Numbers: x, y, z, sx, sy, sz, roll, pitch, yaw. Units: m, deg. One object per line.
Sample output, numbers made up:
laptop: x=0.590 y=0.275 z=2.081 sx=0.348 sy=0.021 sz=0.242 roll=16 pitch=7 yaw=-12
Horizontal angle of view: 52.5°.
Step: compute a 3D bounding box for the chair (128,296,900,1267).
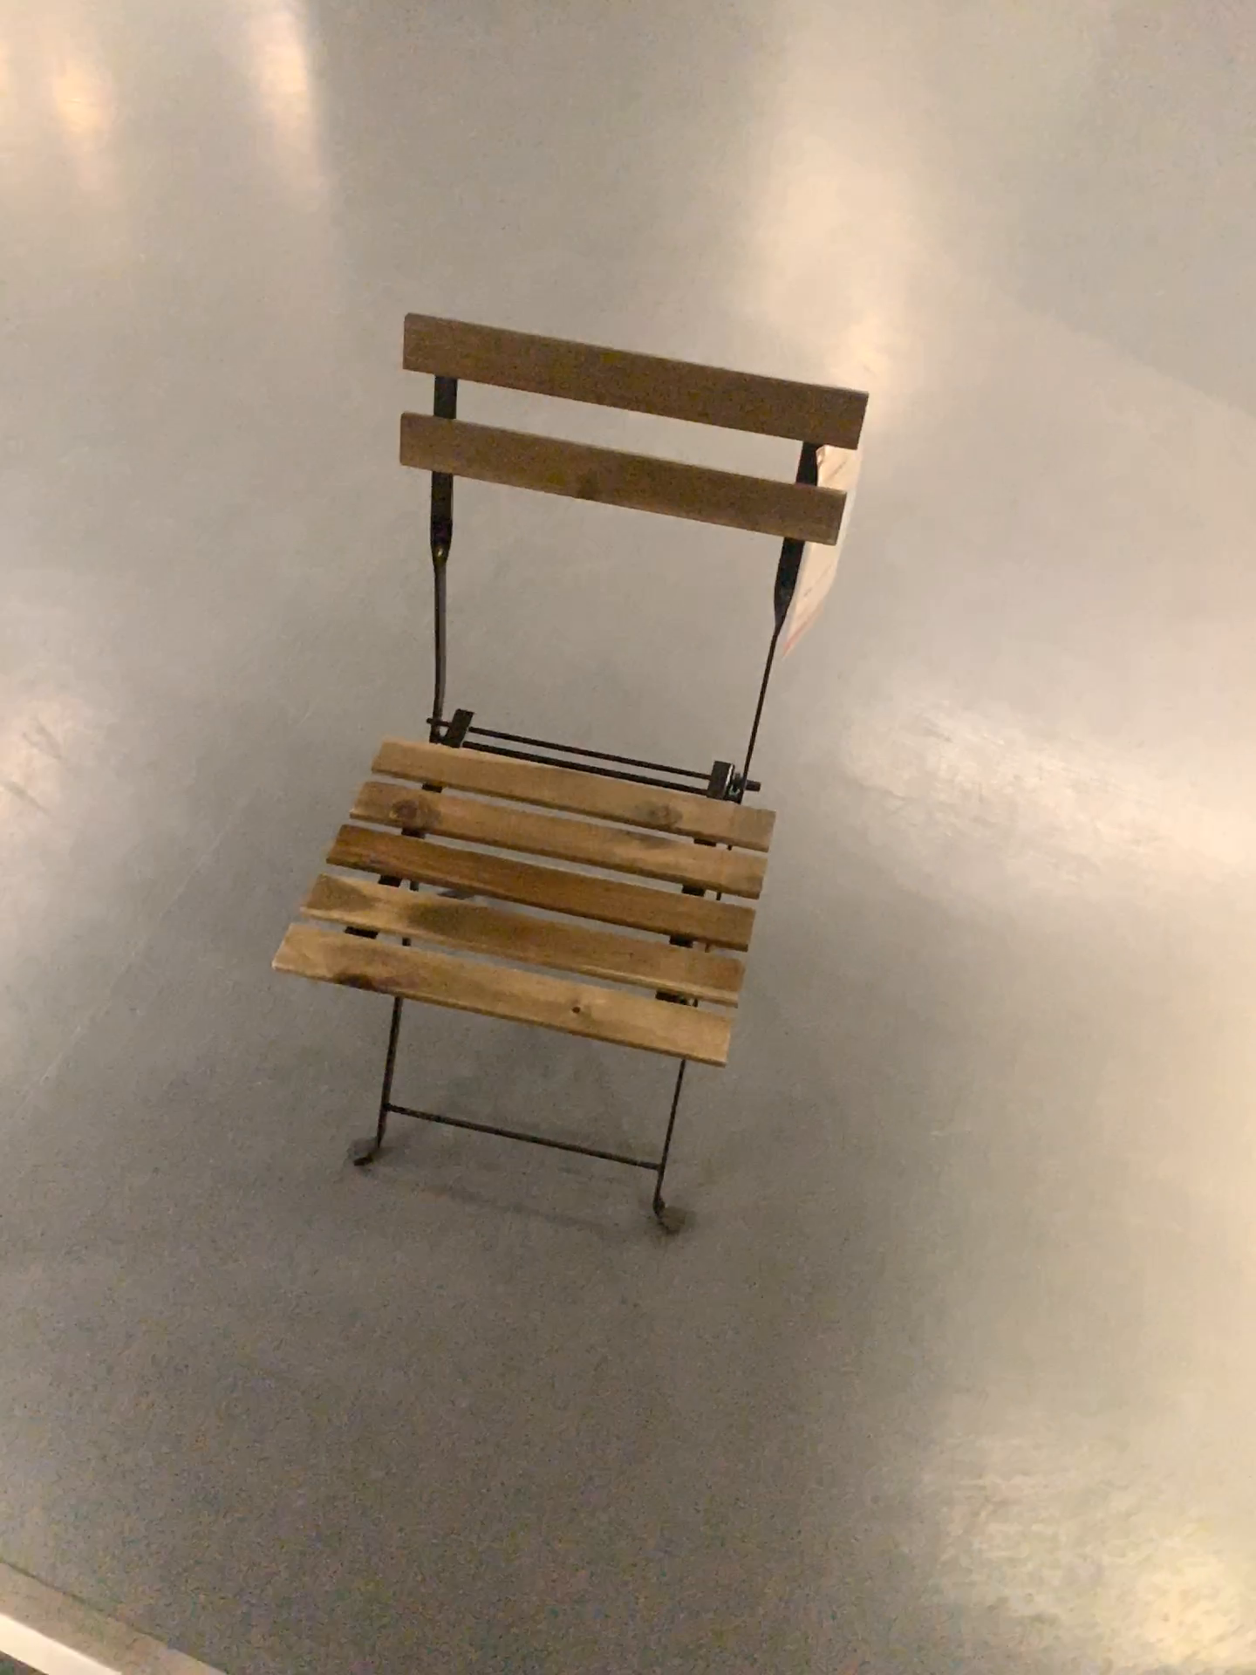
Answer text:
chair: x=-0.056 y=-0.009 z=1.182 sx=0.420 sy=0.698 sz=0.501 roll=12 pitch=54 yaw=6
